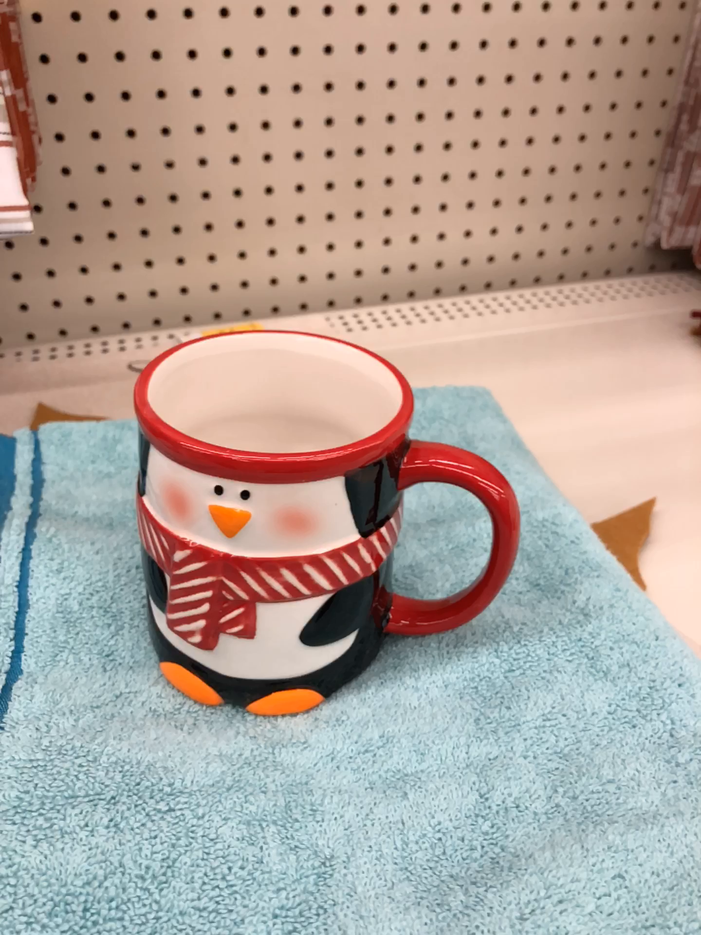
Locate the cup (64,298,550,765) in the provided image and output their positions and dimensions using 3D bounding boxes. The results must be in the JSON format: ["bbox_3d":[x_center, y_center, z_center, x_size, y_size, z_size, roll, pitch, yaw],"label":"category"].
[{"bbox_3d":[-0.009,0.017,0.272,0.130,0.110,0.090,9,32,7],"label":"cup"}]
